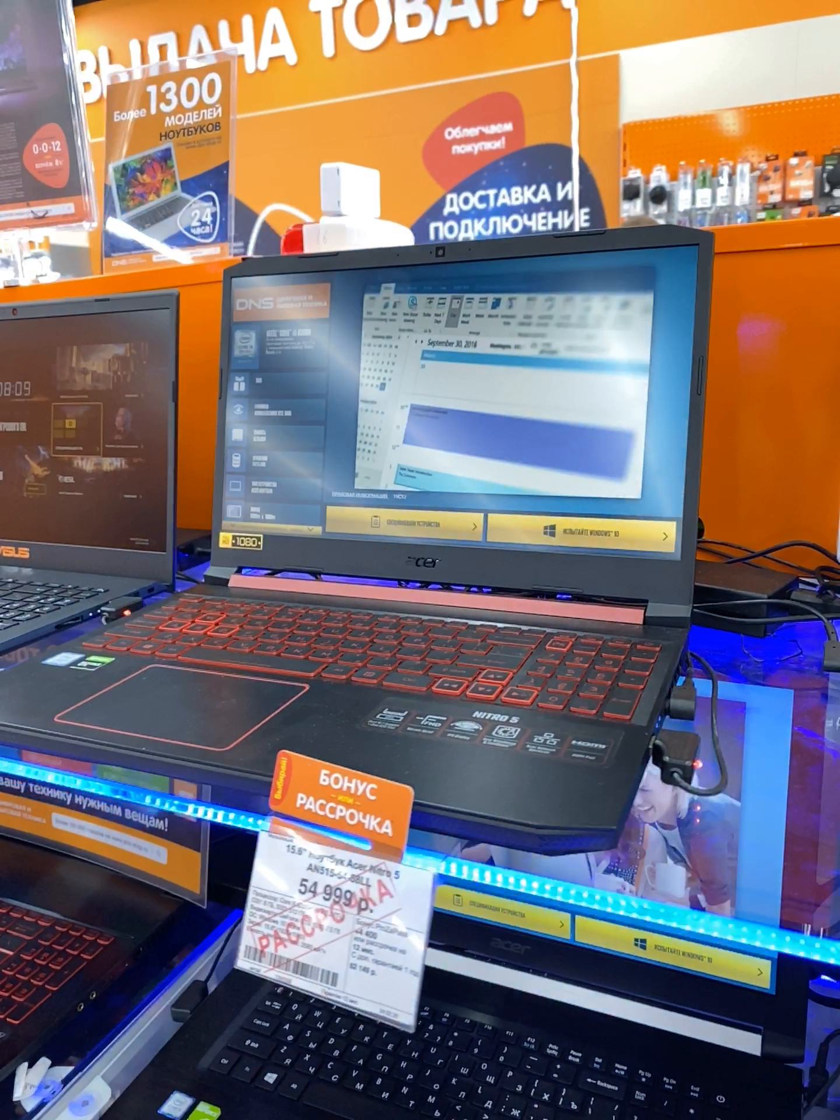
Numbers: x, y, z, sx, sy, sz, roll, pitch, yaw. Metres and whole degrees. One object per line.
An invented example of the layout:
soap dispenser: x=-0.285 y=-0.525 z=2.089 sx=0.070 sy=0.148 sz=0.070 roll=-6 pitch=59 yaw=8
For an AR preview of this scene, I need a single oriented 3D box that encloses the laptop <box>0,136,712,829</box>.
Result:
laptop: x=-0.040 y=-0.063 z=0.494 sx=0.360 sy=0.237 sz=0.303 roll=4 pitch=15 yaw=22
